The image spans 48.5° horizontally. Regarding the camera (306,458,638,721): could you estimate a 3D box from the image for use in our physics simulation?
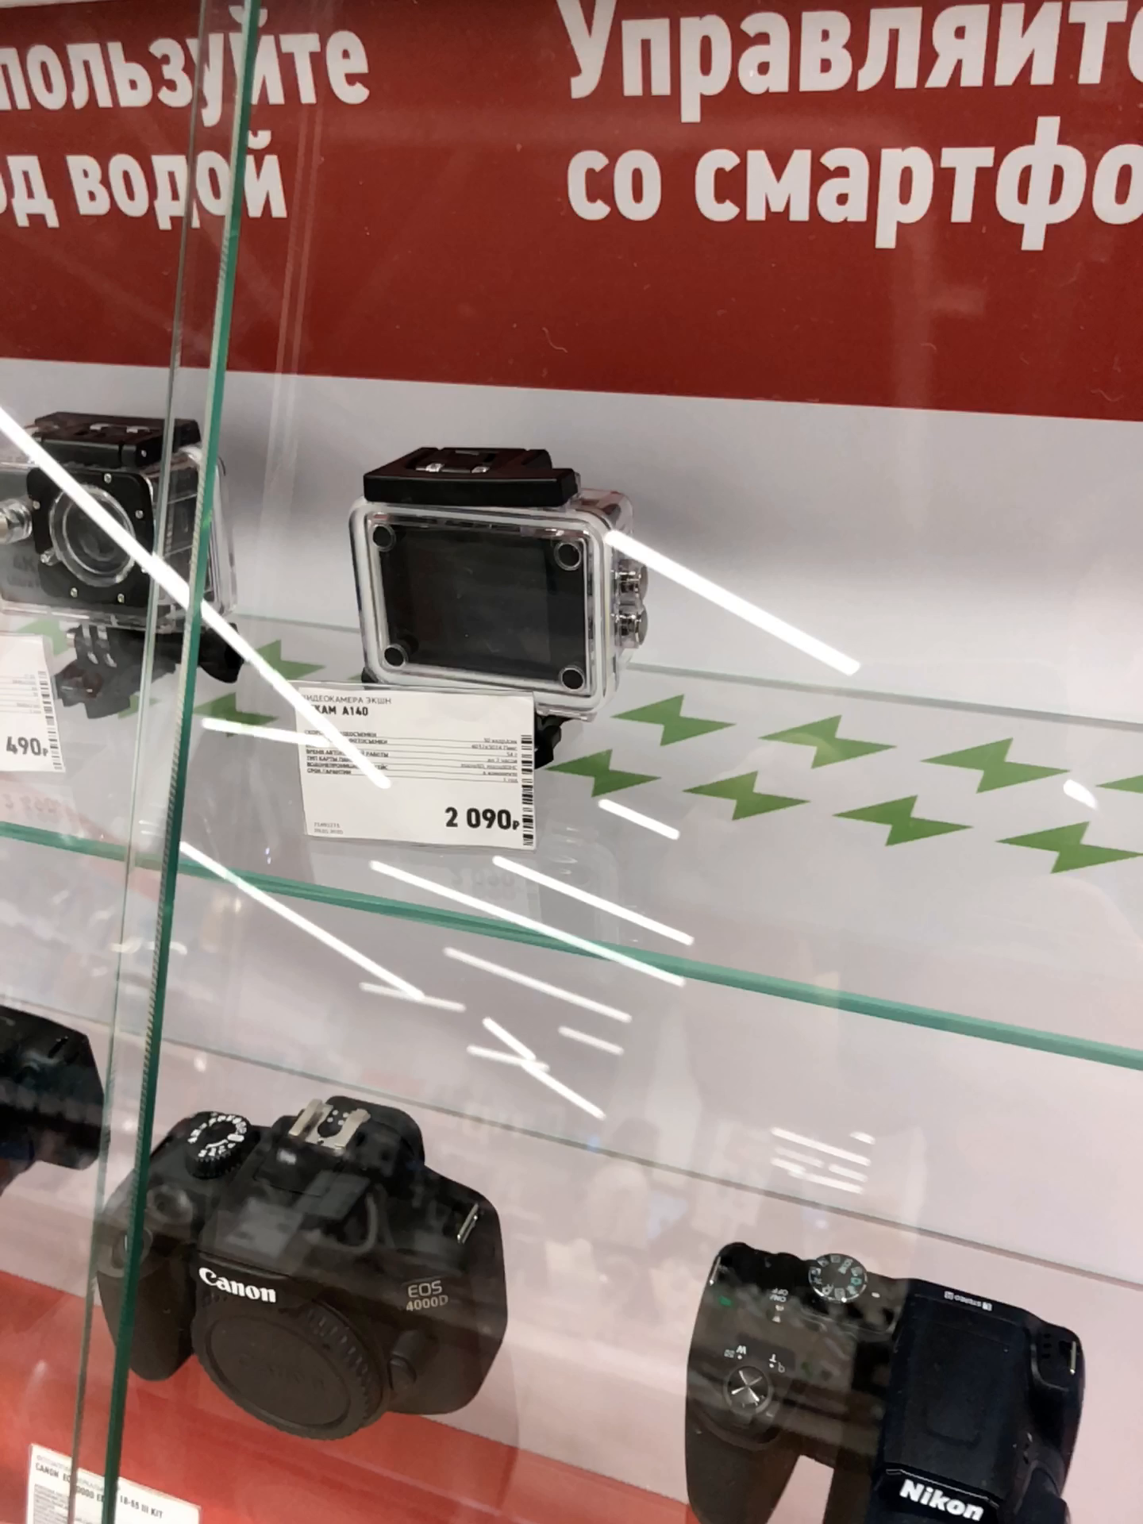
[{"bbox_3d":[-0.025,-0.048,0.341,0.075,0.053,0.040,8,29,19],"label":"camera"}]
